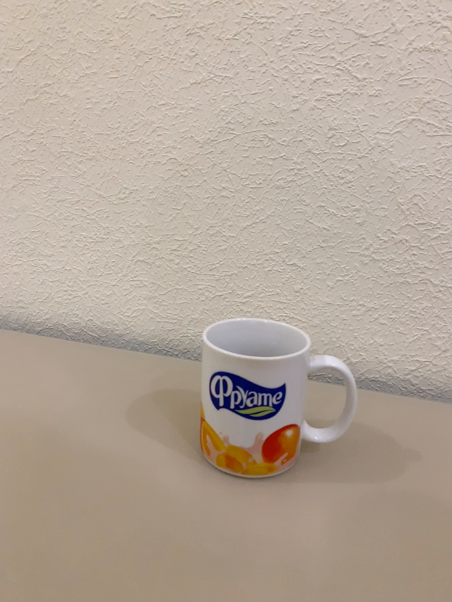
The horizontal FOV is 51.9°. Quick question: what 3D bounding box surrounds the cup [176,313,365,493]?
[{"bbox_3d":[0.029,0.069,0.341,0.116,0.092,0.081,4,17,3],"label":"cup"}]
